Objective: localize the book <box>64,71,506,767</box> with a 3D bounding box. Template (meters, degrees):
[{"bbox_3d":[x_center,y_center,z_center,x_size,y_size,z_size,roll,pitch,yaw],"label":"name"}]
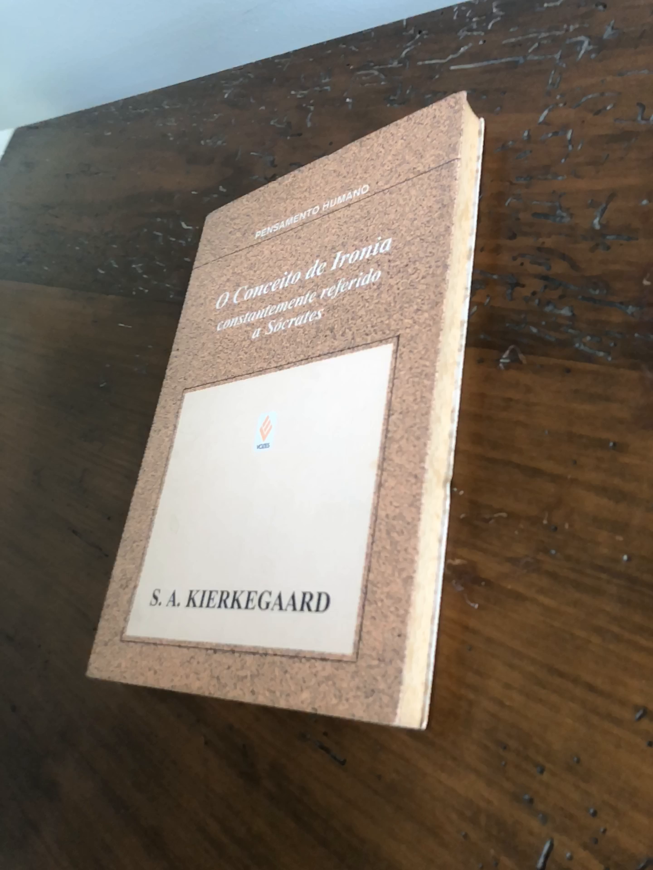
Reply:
[{"bbox_3d":[-0.014,-0.012,0.263,0.145,0.024,0.220,-9,62,39],"label":"book"}]
